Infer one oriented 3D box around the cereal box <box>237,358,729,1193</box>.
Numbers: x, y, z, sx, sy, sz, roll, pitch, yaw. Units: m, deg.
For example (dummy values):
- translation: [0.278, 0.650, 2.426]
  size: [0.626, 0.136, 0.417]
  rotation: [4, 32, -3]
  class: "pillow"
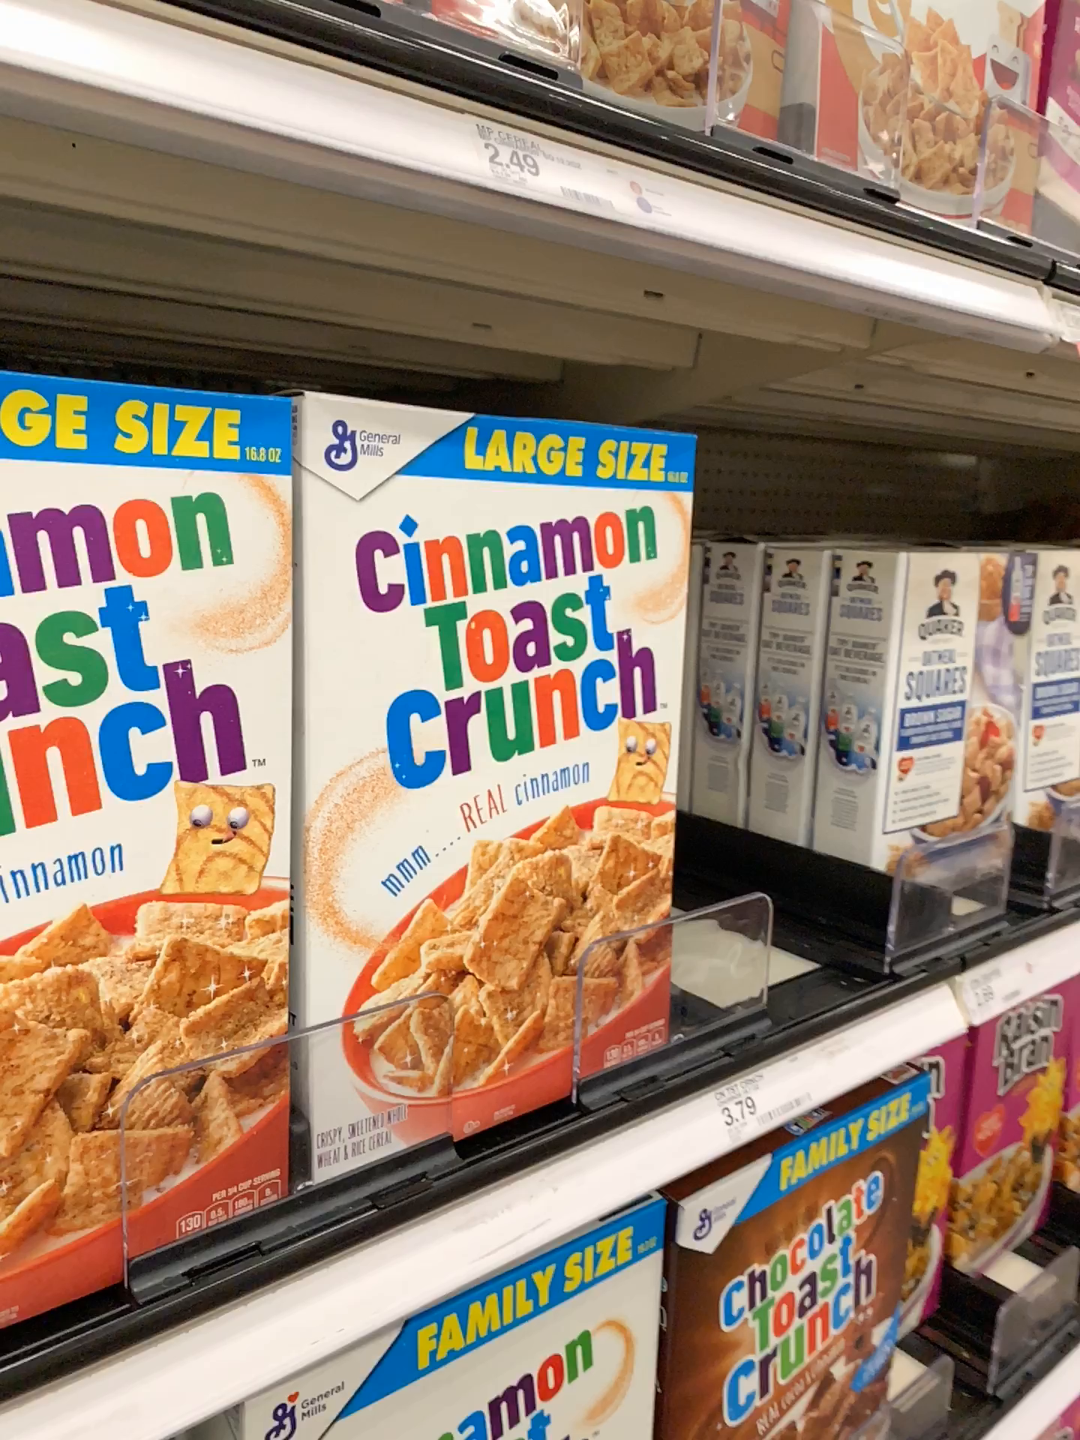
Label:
- translation: [-0.019, 0.014, 0.464]
  size: [0.190, 0.289, 0.070]
  rotation: [-6, 12, -39]
  class: "cereal box"
